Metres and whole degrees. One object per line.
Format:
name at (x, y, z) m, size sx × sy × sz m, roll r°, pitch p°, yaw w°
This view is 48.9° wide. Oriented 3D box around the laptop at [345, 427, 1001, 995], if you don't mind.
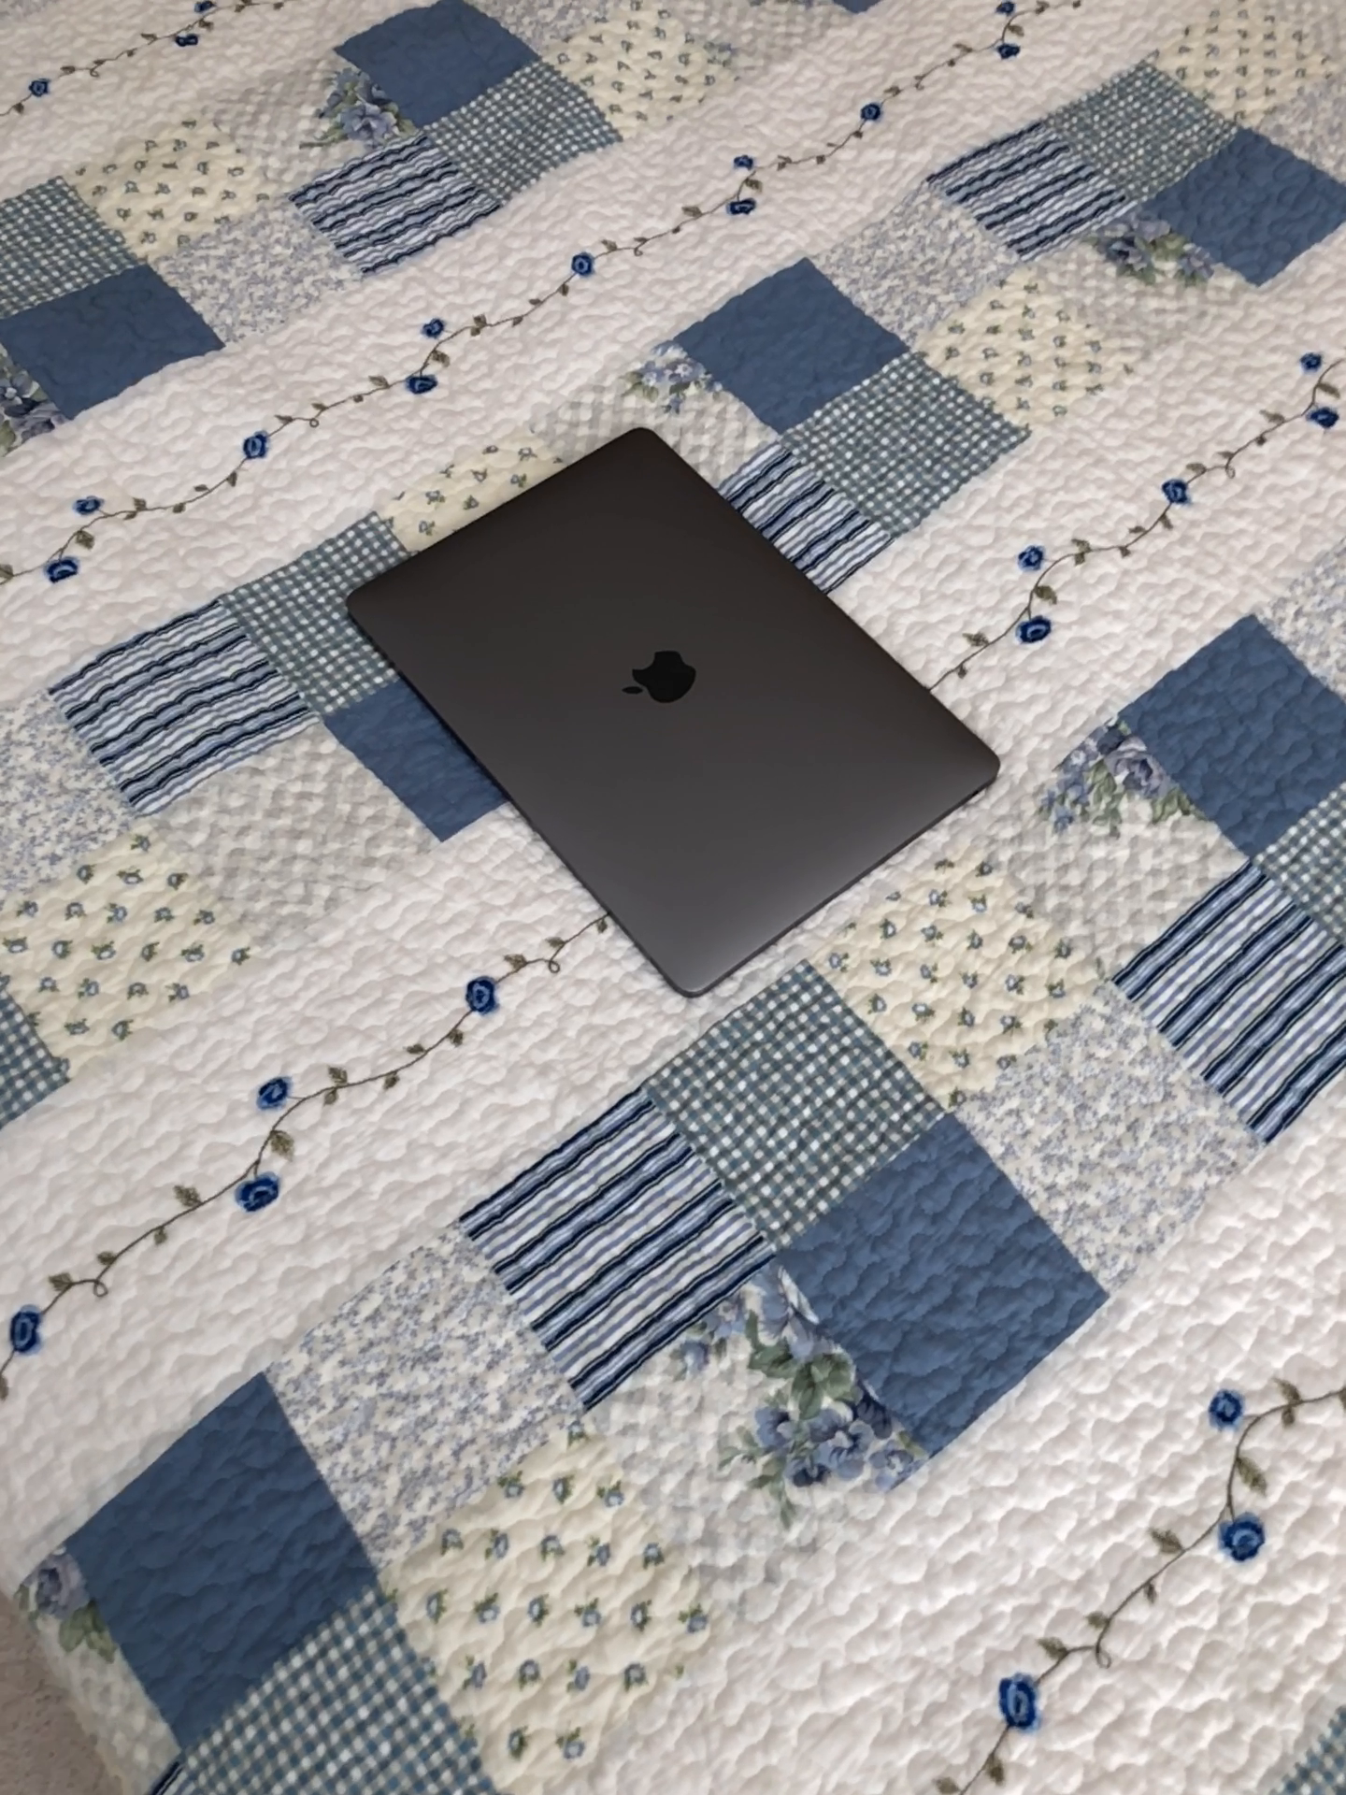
laptop at (-0.005, -0.112, 0.766) m, size 0.201 × 0.005 × 0.290 m, roll -35°, pitch 68°, yaw -18°
